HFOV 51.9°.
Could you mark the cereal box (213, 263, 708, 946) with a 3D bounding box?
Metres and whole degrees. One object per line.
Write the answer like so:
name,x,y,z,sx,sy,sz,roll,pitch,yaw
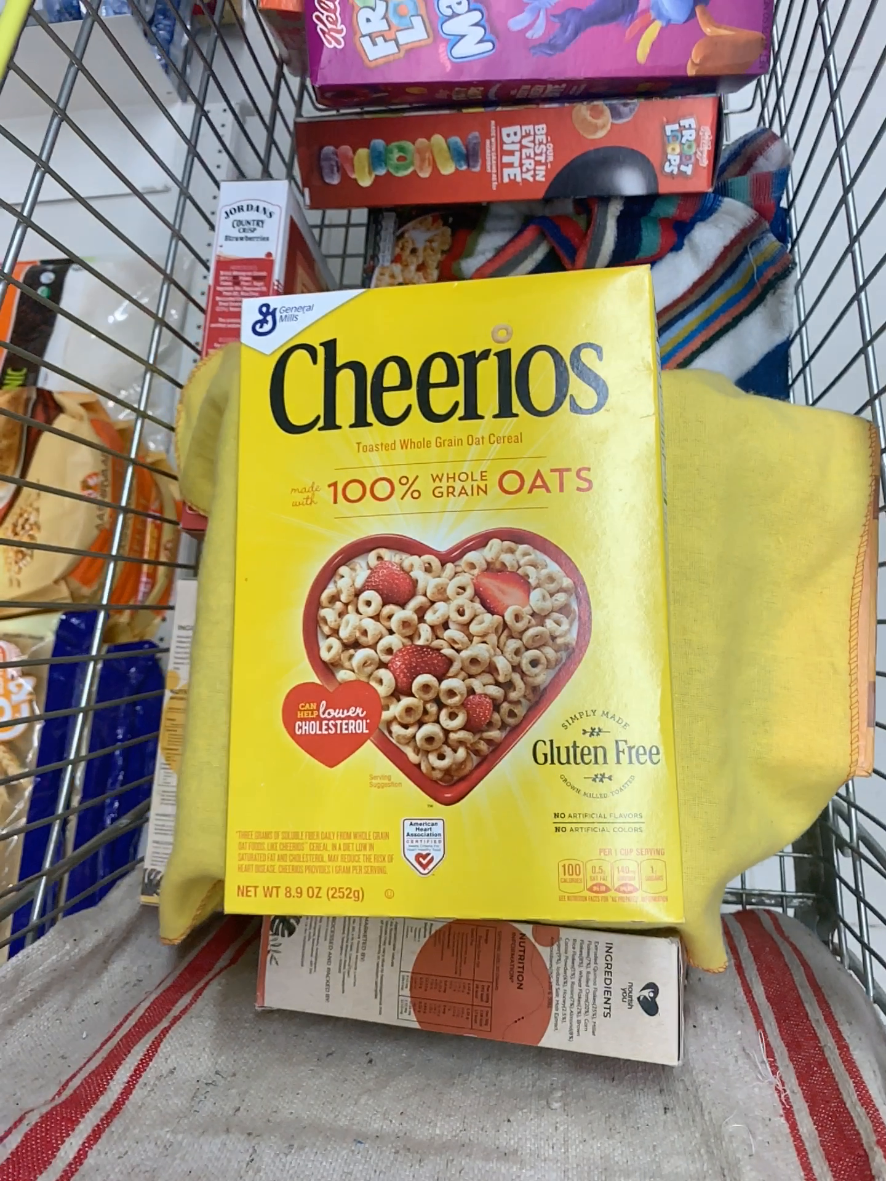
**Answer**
cereal box,0.006,0.005,0.400,0.190,0.060,0.270,-2,80,9
